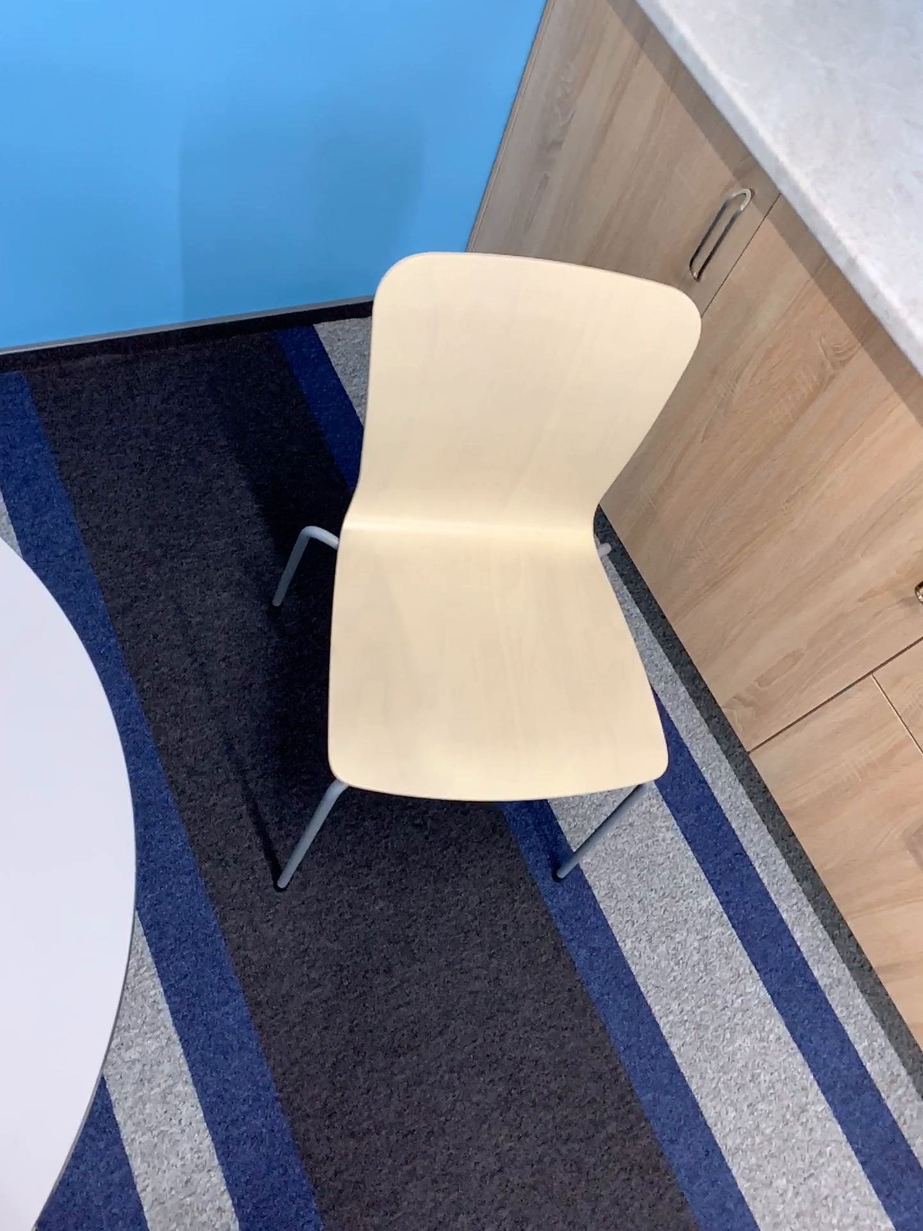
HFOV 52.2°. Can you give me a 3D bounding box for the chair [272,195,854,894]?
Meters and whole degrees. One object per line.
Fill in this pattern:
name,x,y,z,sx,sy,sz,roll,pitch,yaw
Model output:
chair,0.015,-0.005,1.325,0.477,0.837,0.571,3,60,-15
